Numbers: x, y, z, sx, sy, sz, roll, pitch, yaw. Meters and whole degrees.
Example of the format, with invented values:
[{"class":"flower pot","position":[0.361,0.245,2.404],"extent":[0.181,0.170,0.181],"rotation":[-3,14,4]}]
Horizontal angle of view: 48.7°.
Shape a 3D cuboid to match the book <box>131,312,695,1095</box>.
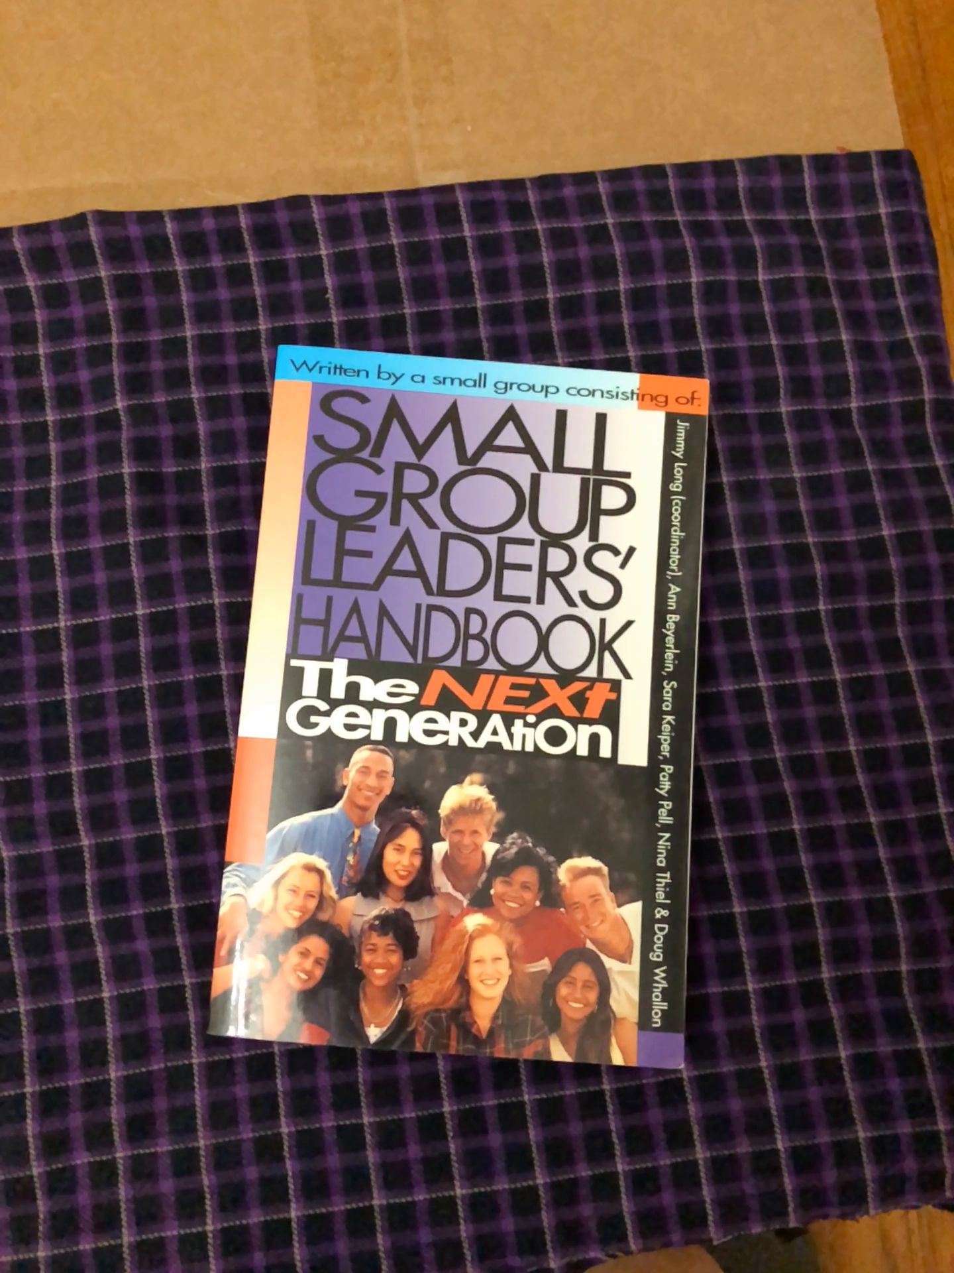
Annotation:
[{"class":"book","position":[-0.015,0.016,0.315],"extent":[0.150,0.030,0.220],"rotation":[2,80,-4]}]
